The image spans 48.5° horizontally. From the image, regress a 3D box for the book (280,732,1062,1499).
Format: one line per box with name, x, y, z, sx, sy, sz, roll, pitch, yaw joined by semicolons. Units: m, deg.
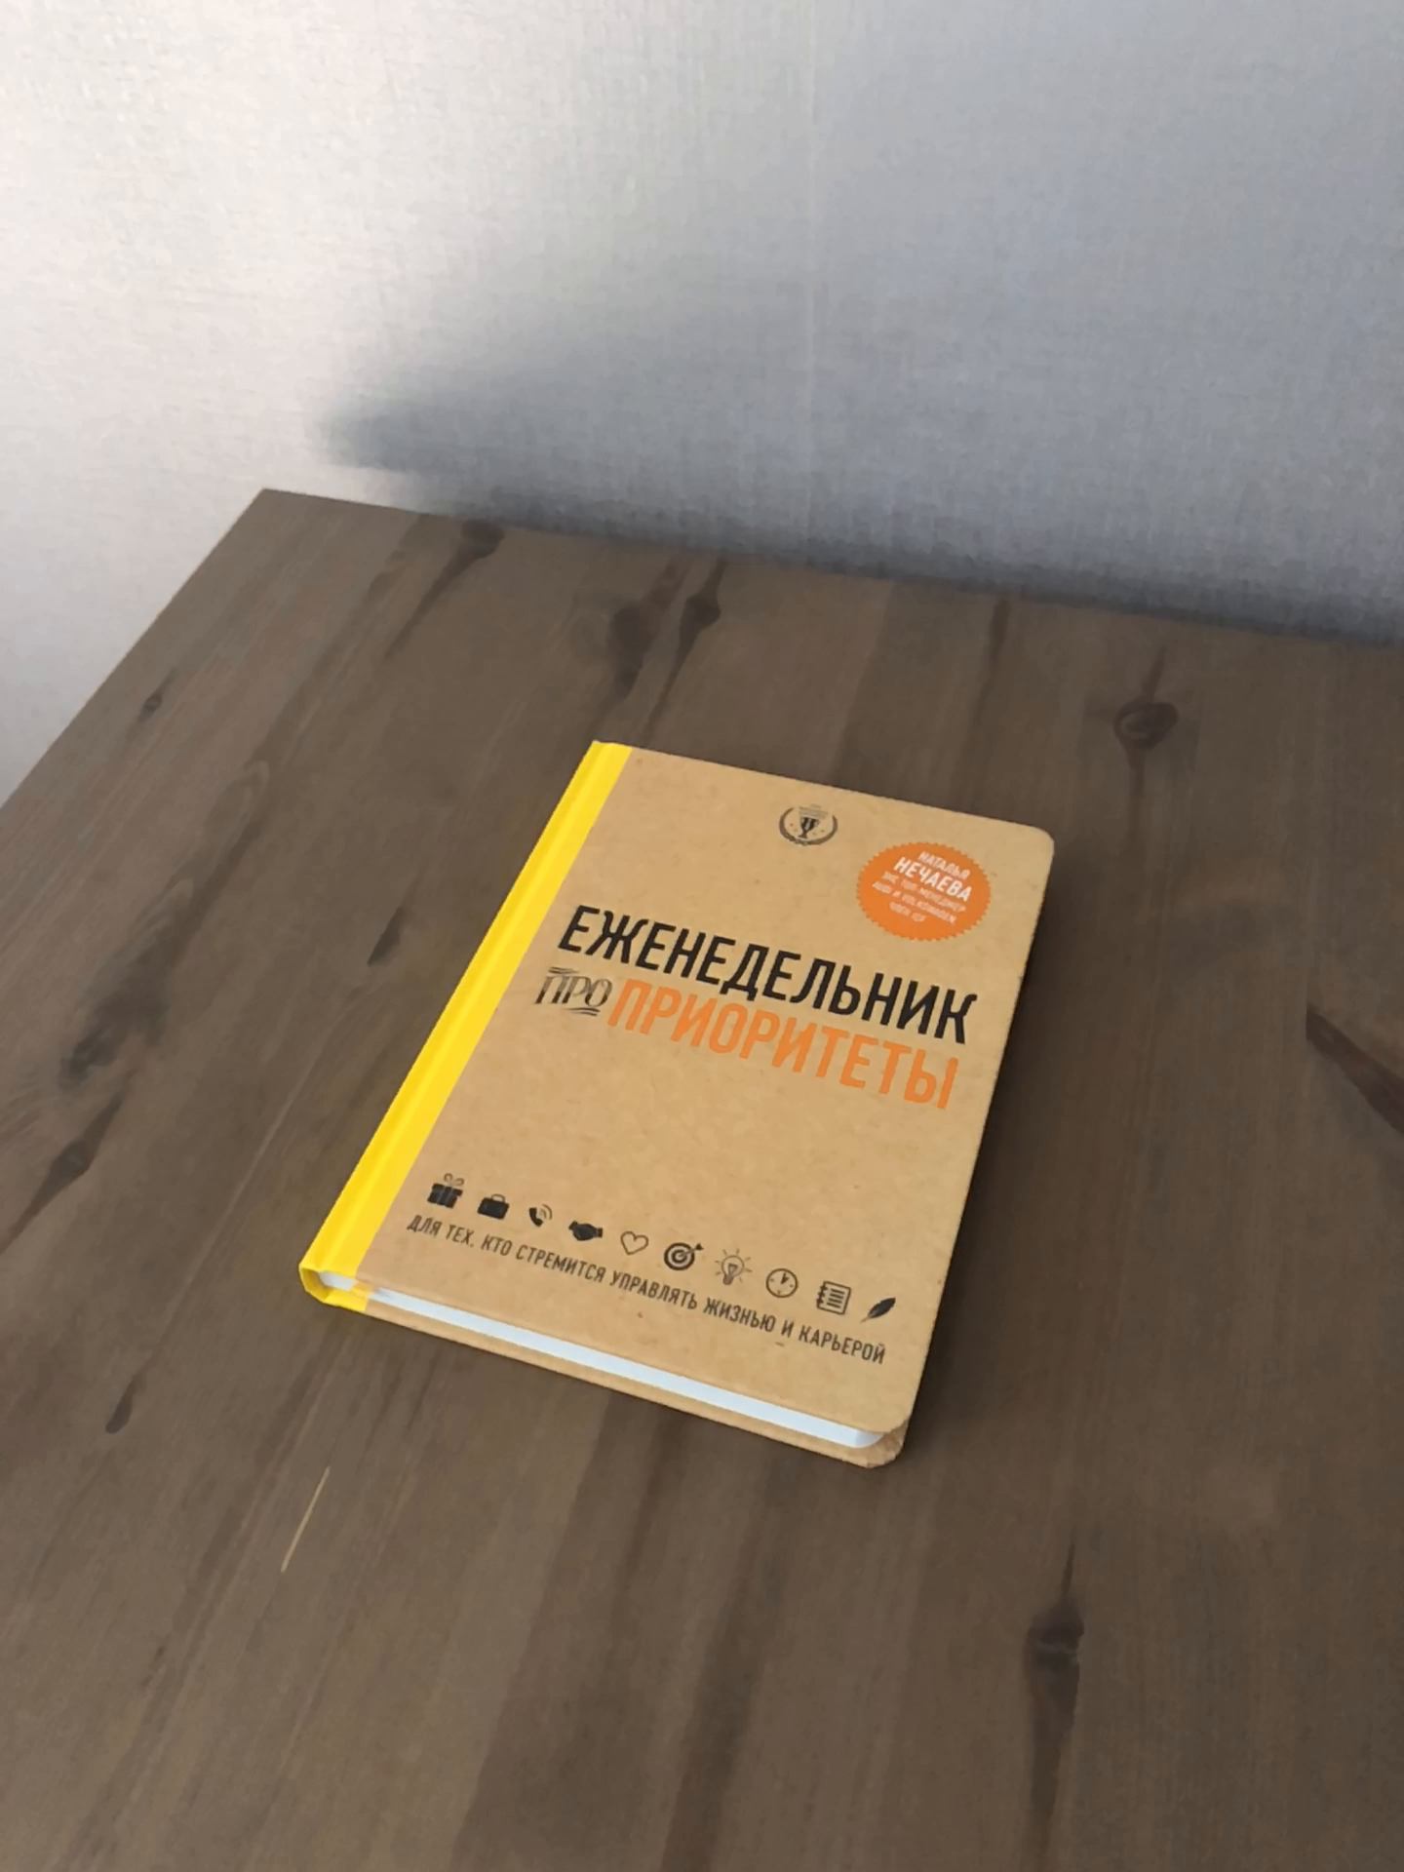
book;0.003;0.038;0.498;0.180;0.032;0.230;13;51;13
